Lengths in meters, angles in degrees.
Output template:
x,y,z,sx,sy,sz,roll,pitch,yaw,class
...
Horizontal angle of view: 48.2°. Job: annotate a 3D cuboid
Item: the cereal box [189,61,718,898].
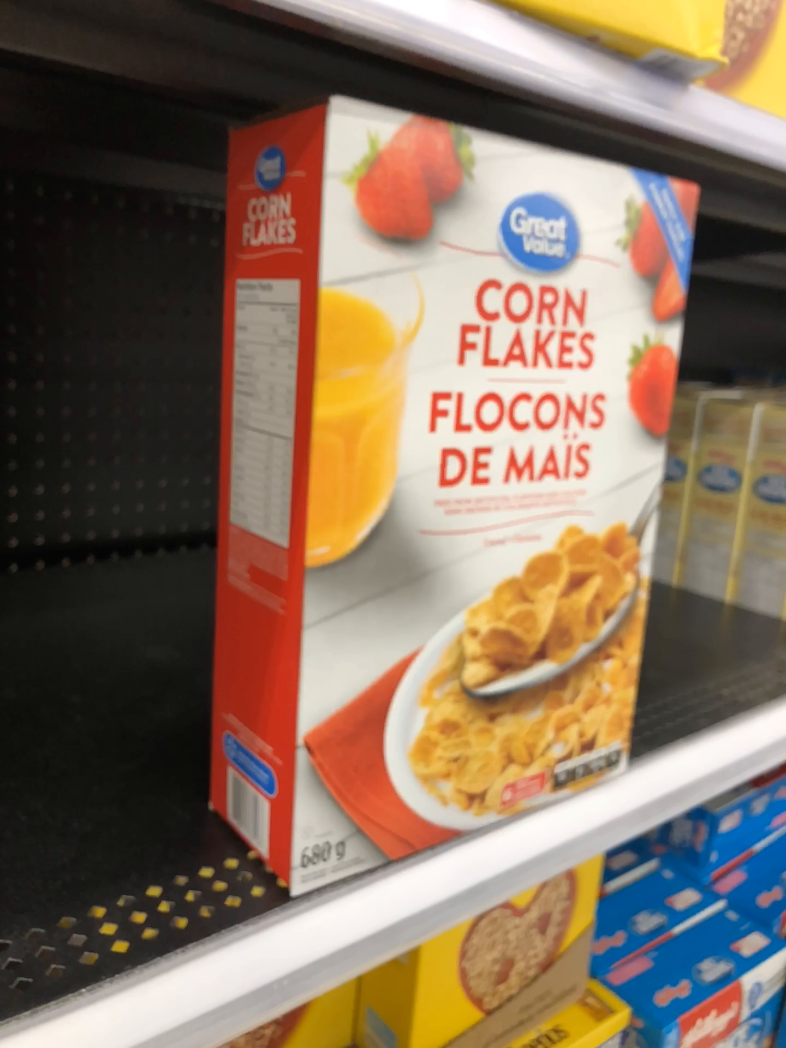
x,y,z,sx,sy,sz,roll,pitch,yaw,class
0.031,-0.021,0.447,0.240,0.329,0.090,-5,15,-37,cereal box
